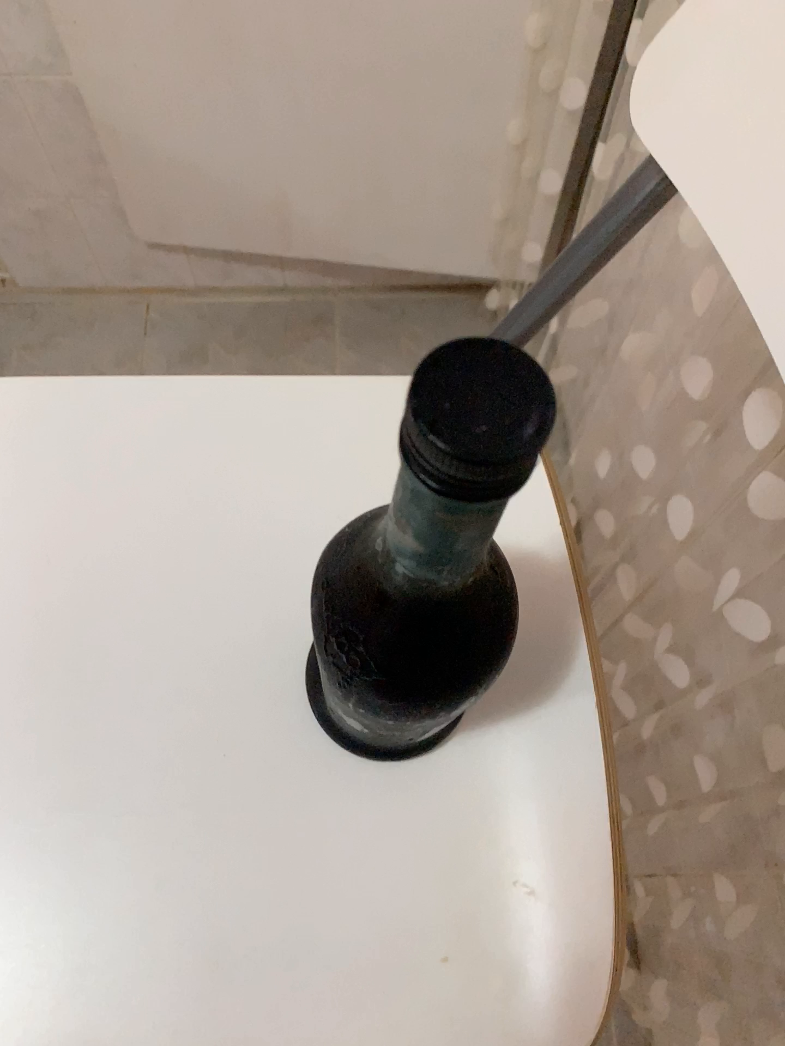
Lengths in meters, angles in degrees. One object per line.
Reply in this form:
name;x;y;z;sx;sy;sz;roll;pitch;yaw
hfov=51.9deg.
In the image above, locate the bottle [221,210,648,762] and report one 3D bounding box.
bottle;0.007;0.019;0.281;0.080;0.244;0.090;2;66;0
